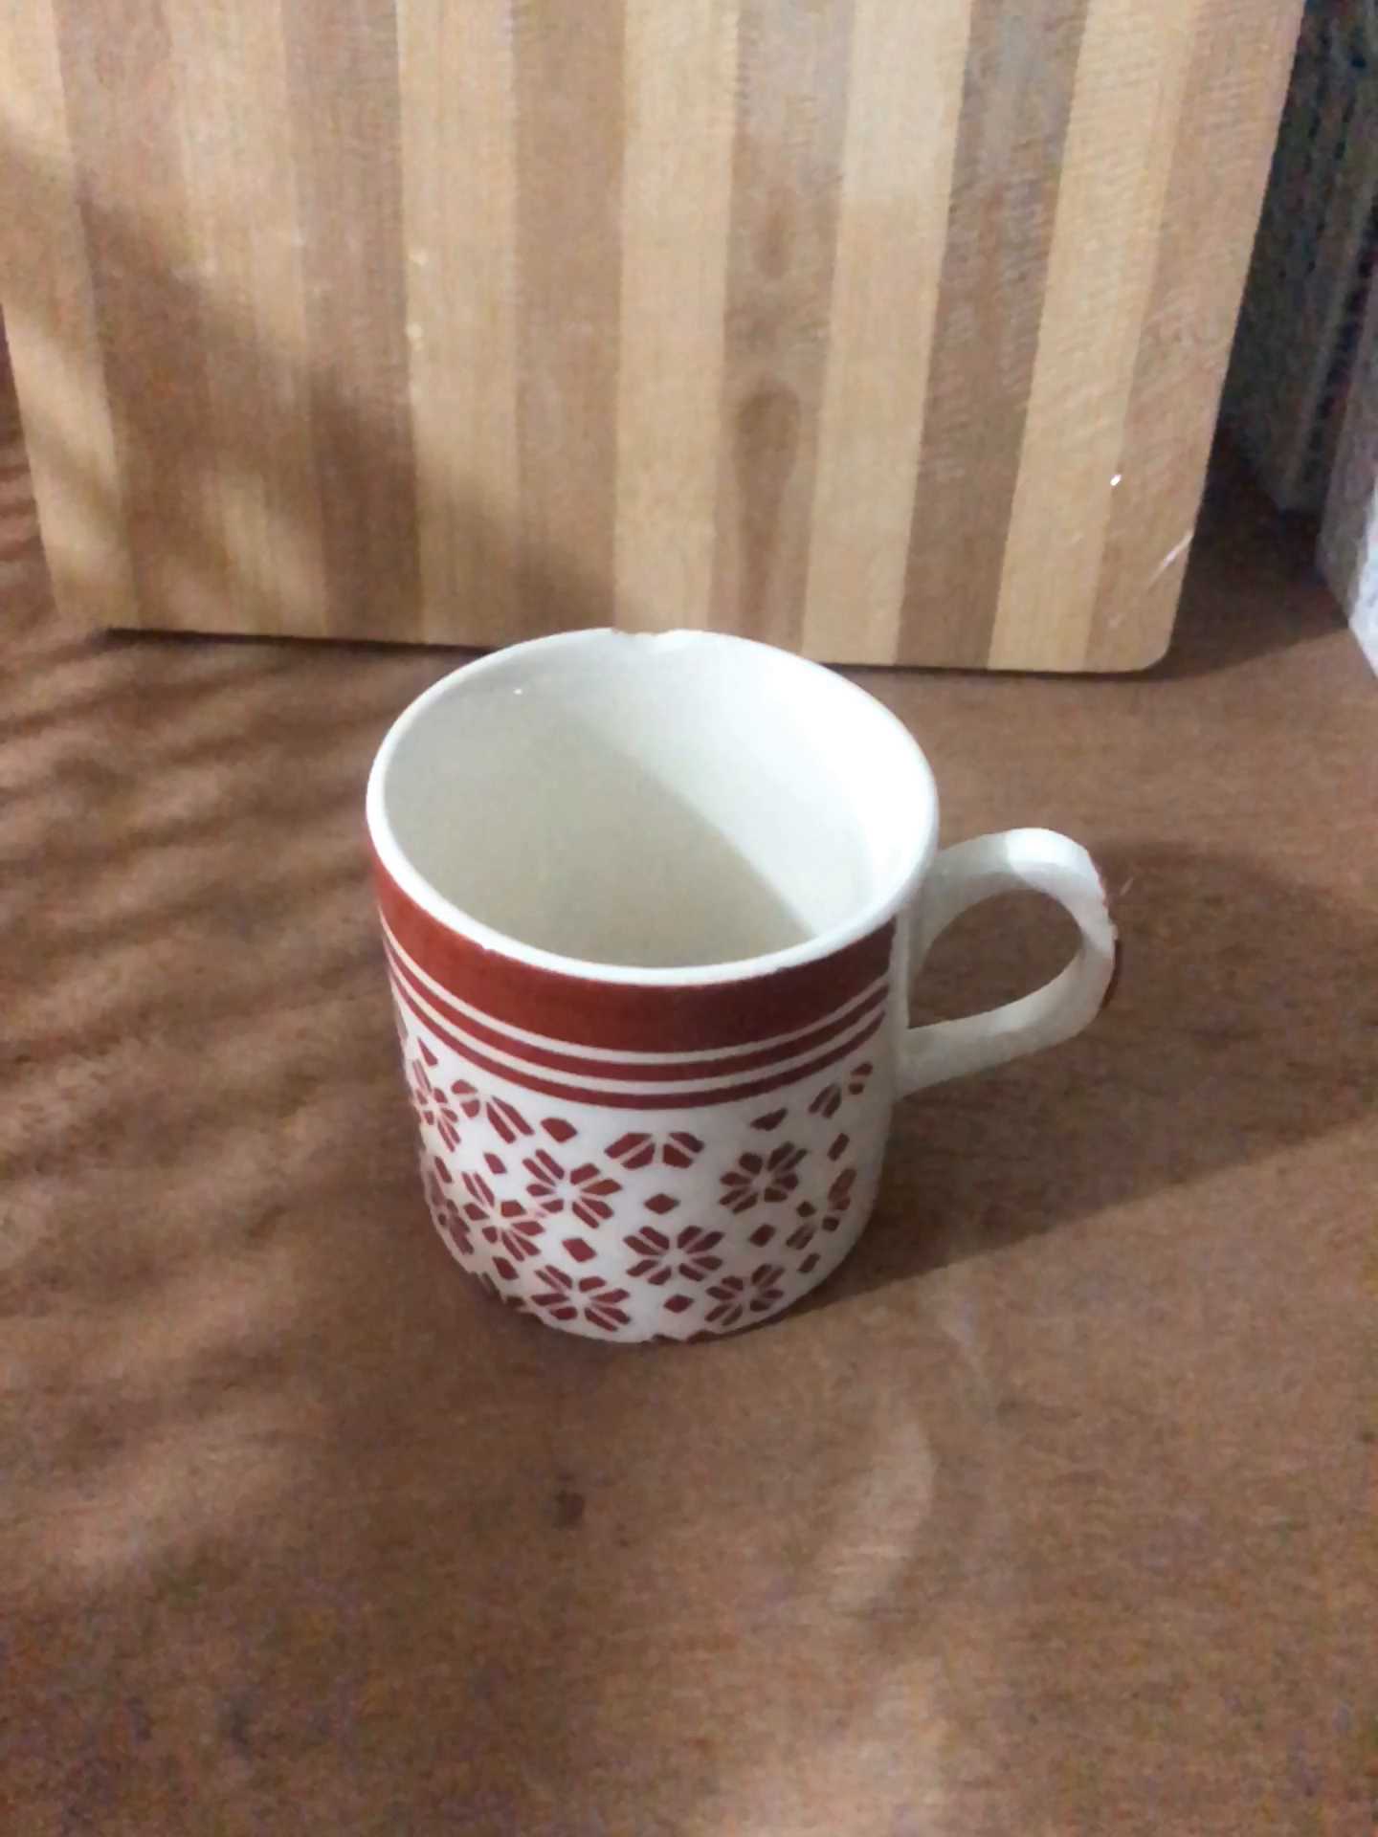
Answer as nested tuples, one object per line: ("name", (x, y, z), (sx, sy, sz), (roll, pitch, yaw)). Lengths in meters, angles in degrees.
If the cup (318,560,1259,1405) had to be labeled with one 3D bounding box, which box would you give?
("cup", (0.006, 0.006, 0.194), (0.090, 0.070, 0.070), (-5, 44, -6))
